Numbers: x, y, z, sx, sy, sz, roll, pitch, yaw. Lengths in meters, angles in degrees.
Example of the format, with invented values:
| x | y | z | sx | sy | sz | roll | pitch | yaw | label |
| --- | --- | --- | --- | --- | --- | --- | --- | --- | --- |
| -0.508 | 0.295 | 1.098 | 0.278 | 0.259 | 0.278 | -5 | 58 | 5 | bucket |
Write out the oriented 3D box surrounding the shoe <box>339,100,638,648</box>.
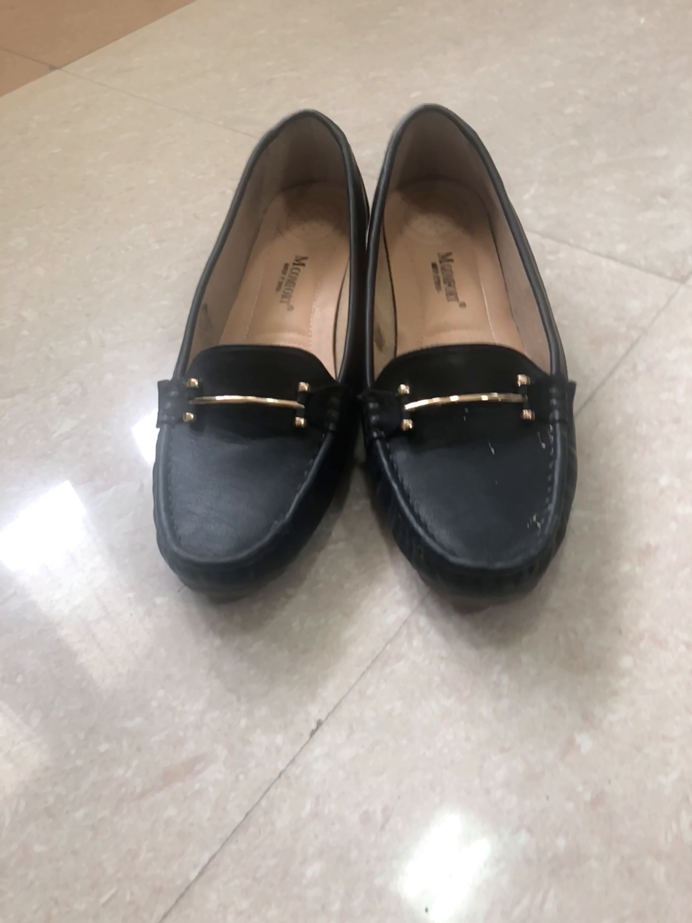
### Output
| x | y | z | sx | sy | sz | roll | pitch | yaw | label |
| --- | --- | --- | --- | --- | --- | --- | --- | --- | --- |
| 0.050 | -0.068 | 0.392 | 0.100 | 0.080 | 0.311 | -4 | 50 | 3 | shoe |

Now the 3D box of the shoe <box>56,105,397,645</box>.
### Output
| x | y | z | sx | sy | sz | roll | pitch | yaw | label |
| --- | --- | --- | --- | --- | --- | --- | --- | --- | --- |
| -0.034 | -0.069 | 0.397 | 0.100 | 0.080 | 0.311 | 1 | 50 | 8 | shoe |
